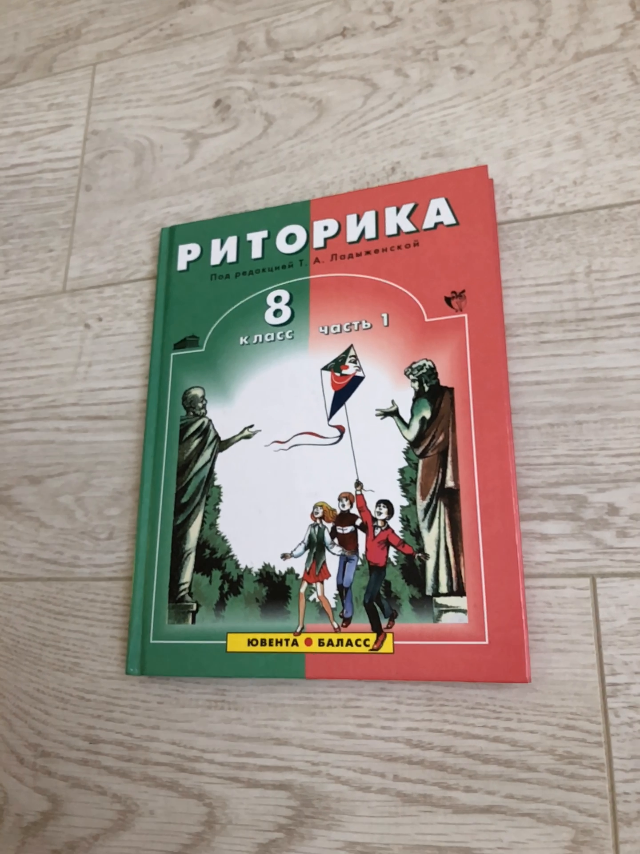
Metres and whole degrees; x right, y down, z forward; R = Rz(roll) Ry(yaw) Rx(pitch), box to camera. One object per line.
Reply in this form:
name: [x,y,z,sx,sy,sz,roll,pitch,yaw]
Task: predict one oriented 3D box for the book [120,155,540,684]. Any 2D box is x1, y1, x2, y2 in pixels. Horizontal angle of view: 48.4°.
book: [-0.001,-0.005,0.319,0.170,0.020,0.223,-6,71,18]
